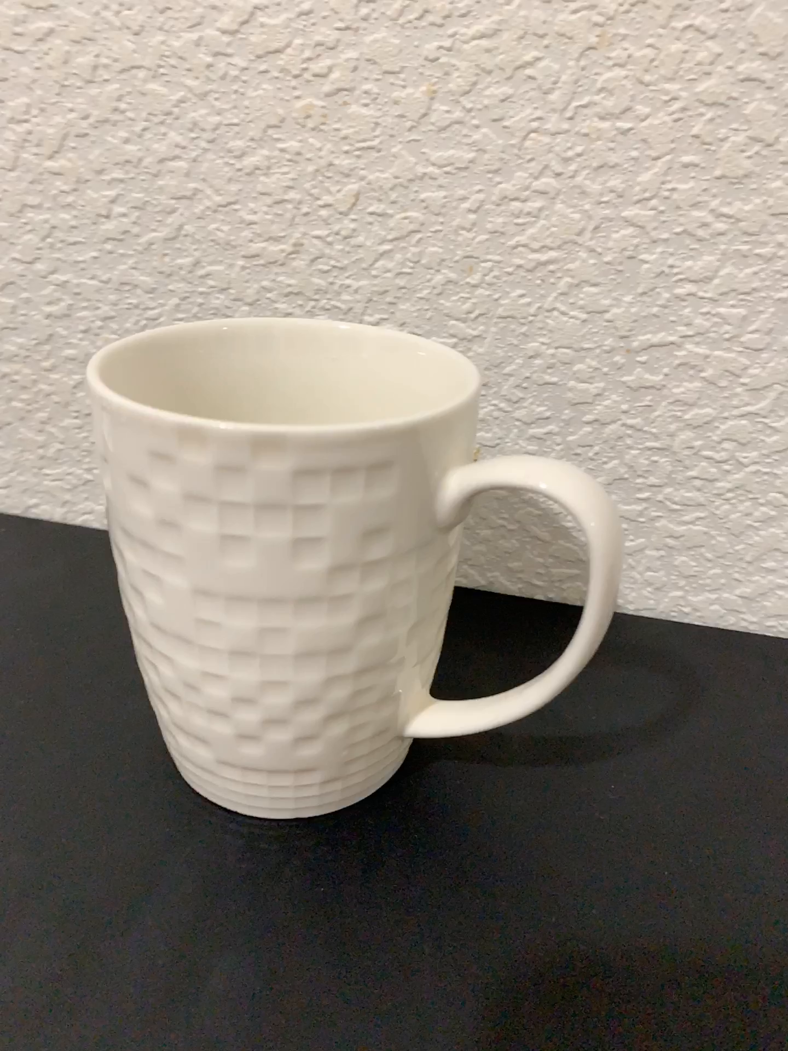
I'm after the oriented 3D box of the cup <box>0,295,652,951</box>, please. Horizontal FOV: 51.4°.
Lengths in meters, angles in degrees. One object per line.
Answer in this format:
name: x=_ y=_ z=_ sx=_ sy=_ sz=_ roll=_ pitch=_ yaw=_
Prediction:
cup: x=-0.012 y=0.013 z=0.196 sx=0.119 sy=0.105 sz=0.082 roll=11 pitch=29 yaw=17
